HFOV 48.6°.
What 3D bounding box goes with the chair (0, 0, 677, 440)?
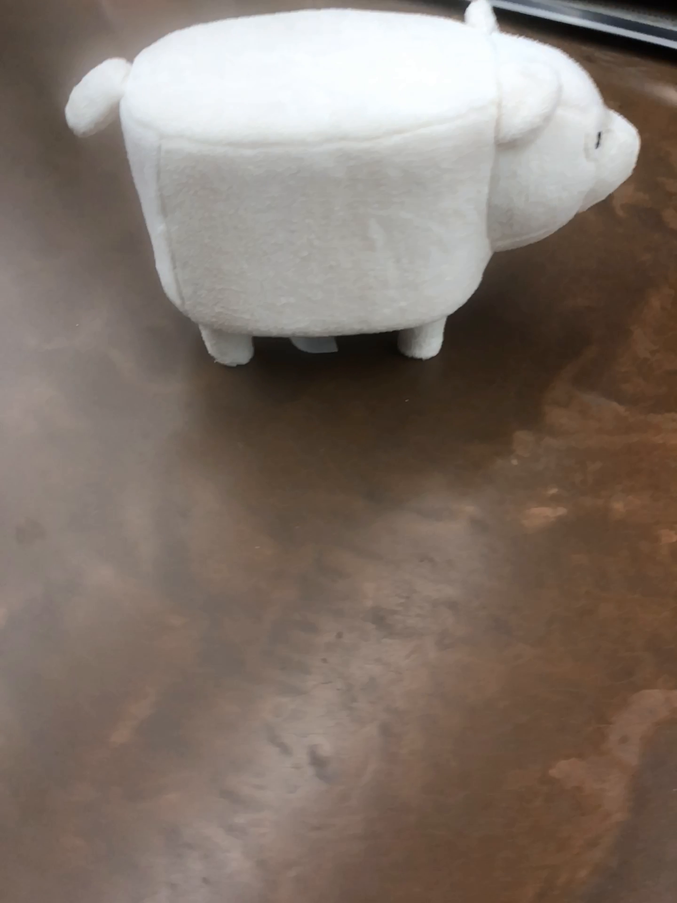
[{"bbox_3d":[0.025,-0.305,0.934,0.630,0.349,0.441,2,50,4],"label":"chair"}]
